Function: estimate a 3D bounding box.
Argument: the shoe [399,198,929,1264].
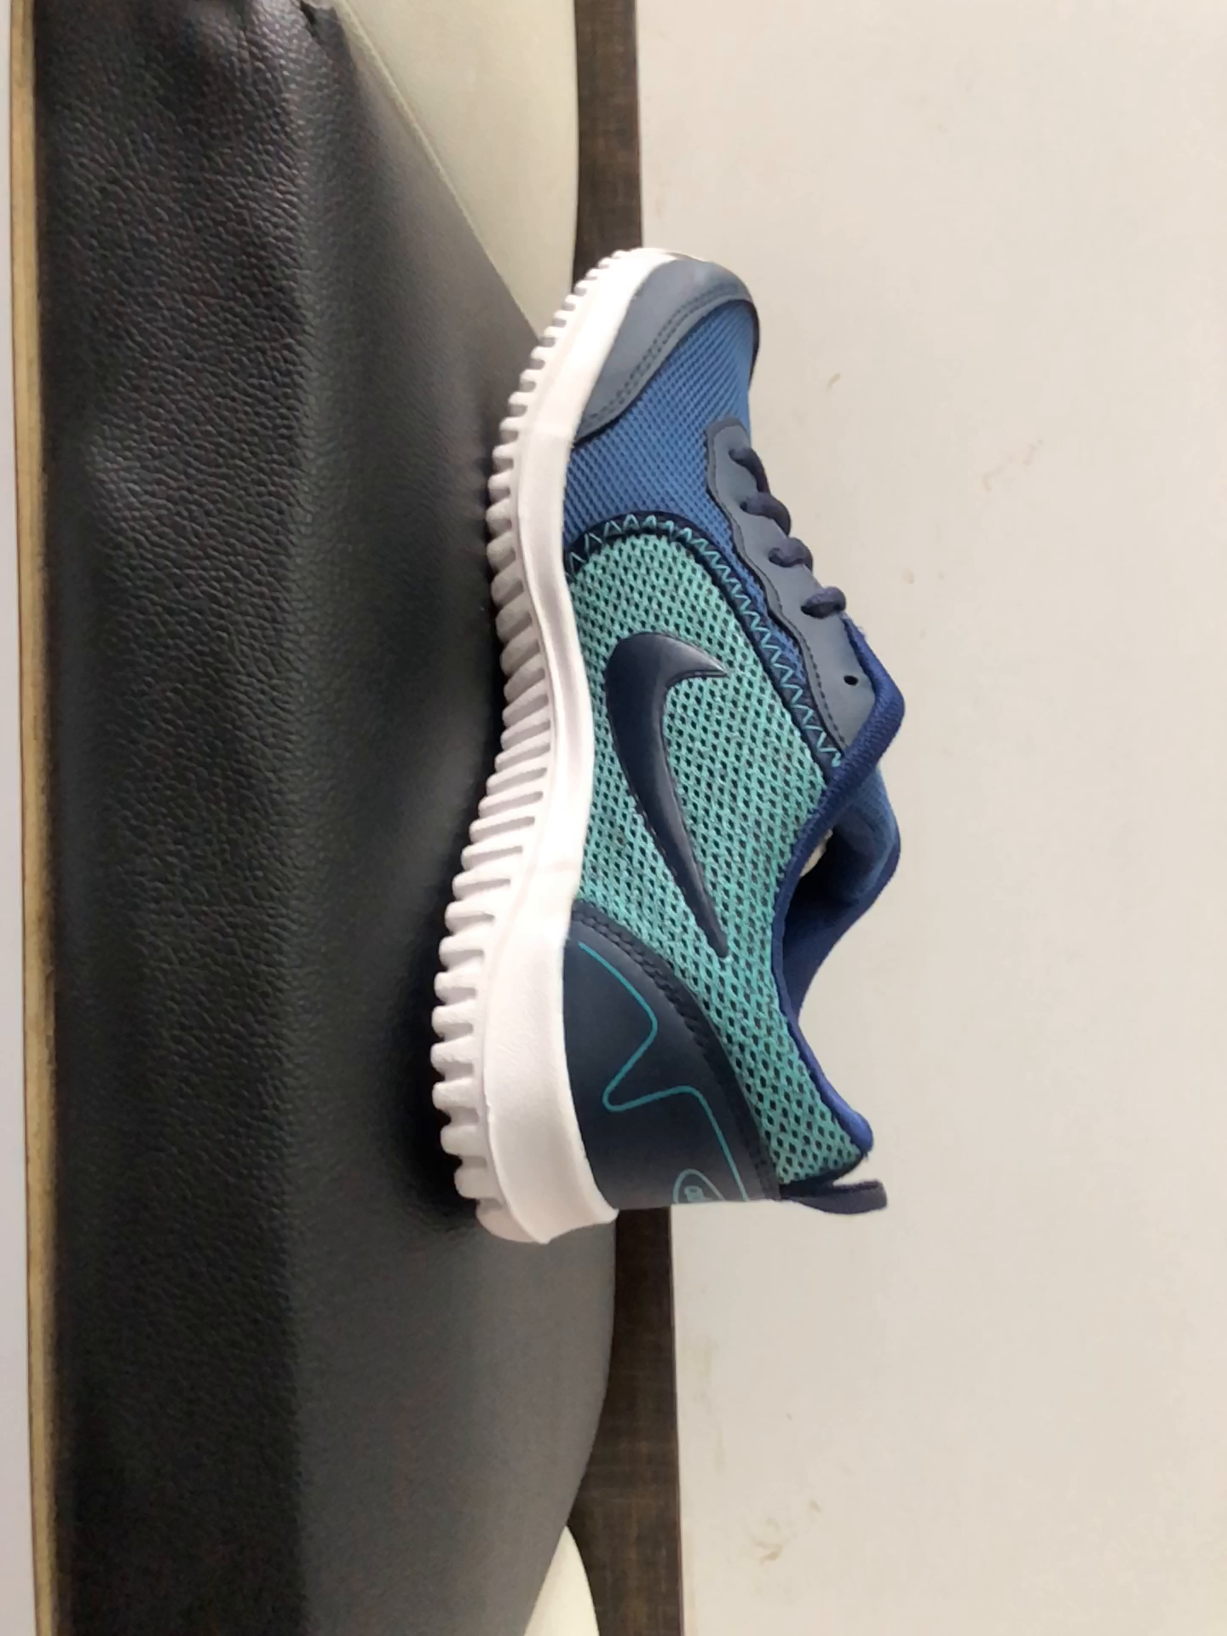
[{"bbox_3d":[0.023,-0.025,0.375,0.130,0.100,0.260,75,16,-59],"label":"shoe"}]
